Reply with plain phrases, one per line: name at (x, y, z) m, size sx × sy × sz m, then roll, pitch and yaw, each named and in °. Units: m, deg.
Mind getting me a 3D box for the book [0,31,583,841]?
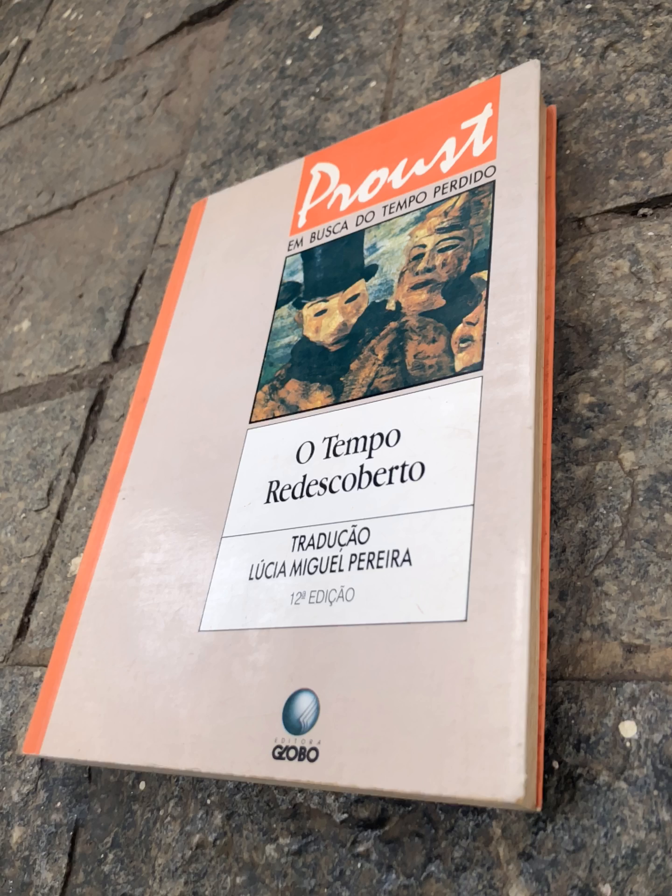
book at (-0.006, -0.014, 0.205) m, size 0.134 × 0.023 × 0.199 m, roll -10°, pitch 56°, yaw 31°
